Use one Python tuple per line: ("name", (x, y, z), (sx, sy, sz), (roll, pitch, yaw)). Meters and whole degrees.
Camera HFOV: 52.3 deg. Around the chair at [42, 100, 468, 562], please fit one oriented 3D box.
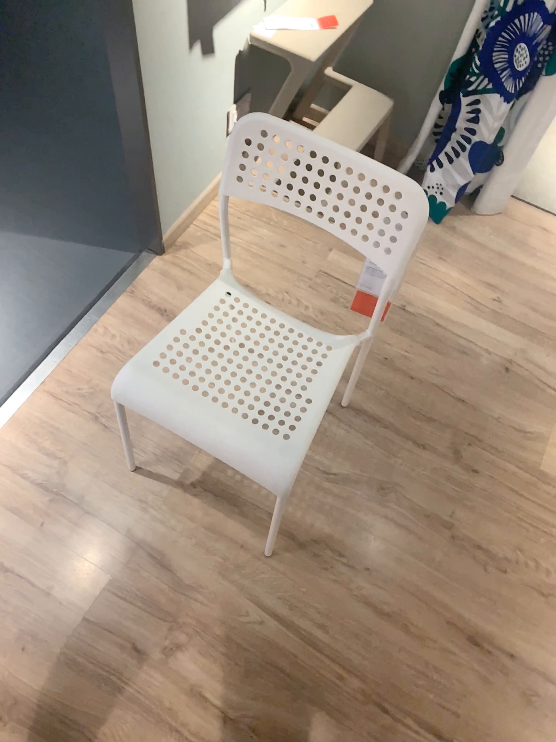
("chair", (-0.027, -0.037, 1.109), (0.430, 0.609, 0.531), (27, 61, 10))
